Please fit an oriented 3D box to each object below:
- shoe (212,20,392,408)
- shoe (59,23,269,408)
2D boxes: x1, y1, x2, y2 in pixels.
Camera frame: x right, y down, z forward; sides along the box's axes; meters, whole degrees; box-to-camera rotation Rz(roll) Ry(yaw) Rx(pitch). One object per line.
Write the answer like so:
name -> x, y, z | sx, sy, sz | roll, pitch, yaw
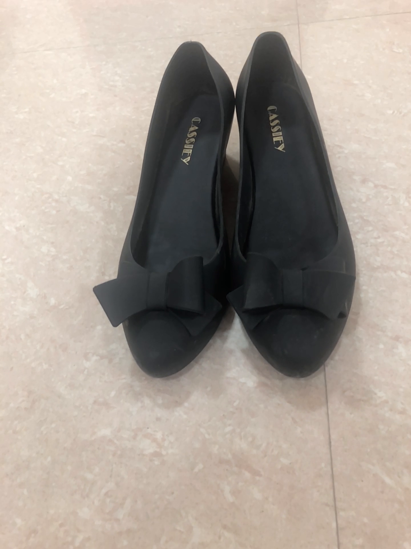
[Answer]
shoe -> 0.063, -0.065, 0.356 | 0.090, 0.090, 0.311 | -2, 56, 9
shoe -> -0.007, -0.066, 0.363 | 0.090, 0.090, 0.310 | 2, 57, 12
